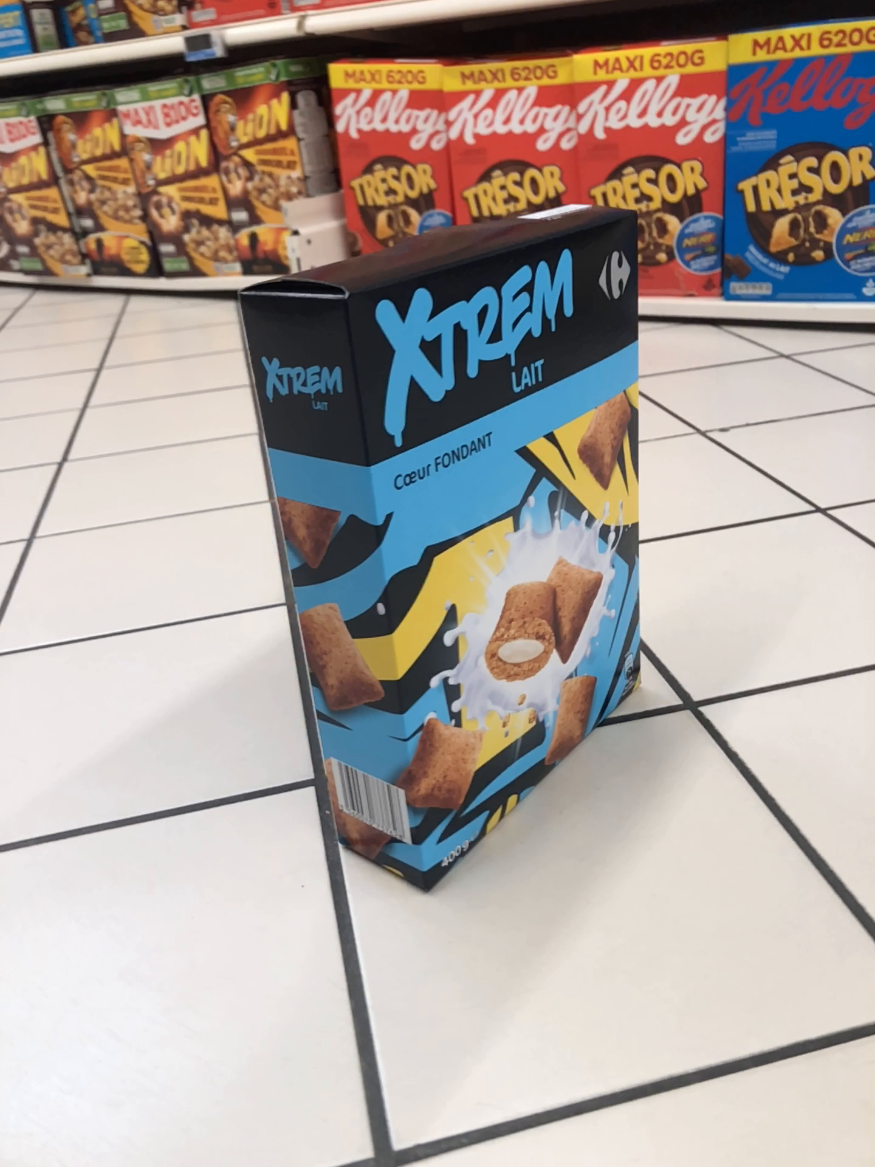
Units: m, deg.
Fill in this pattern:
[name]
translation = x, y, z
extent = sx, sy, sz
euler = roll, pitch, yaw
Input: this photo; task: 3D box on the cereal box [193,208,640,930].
[cereal box]
translation = 0.014, -0.017, 0.433
extent = 0.060, 0.259, 0.201
euler = 16, 33, 36
